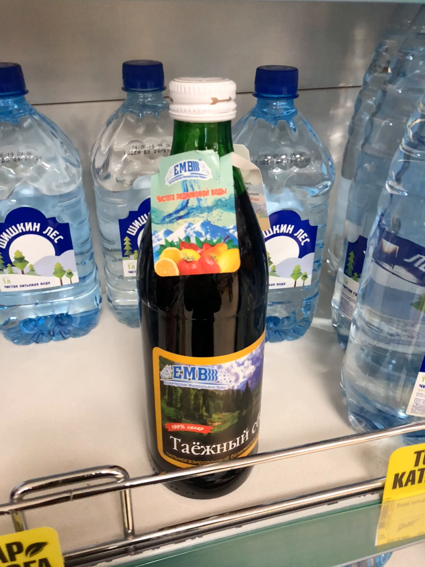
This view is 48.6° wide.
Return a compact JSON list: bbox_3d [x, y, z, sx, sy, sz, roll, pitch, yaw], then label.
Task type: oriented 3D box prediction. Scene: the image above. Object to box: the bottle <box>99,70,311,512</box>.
[{"bbox_3d":[-0.006,0.012,0.247,0.075,0.219,0.068,-1,30,1],"label":"bottle"}]
